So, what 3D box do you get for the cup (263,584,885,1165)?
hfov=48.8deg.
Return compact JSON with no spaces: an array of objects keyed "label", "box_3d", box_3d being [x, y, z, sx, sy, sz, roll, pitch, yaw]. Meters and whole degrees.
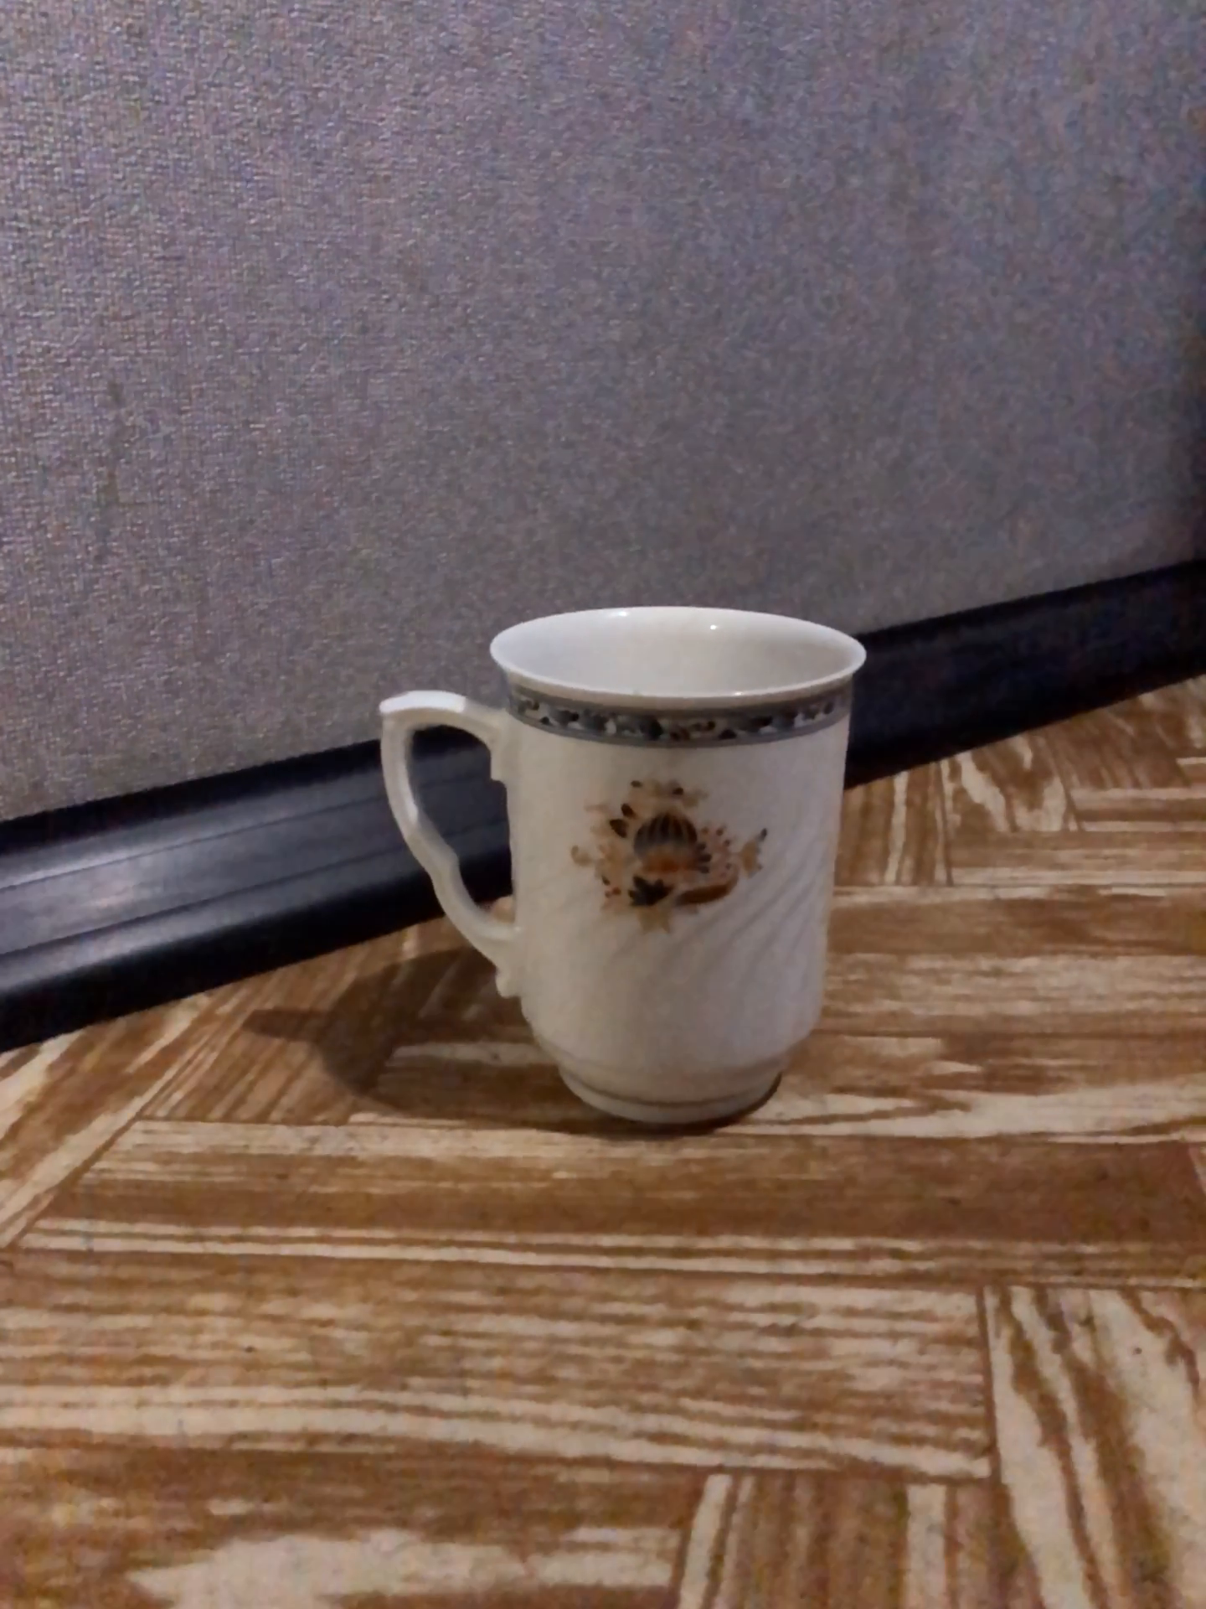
[{"label":"cup","box_3d":[-0.002,0.009,0.311,0.118,0.099,0.078,7,21,18]}]
